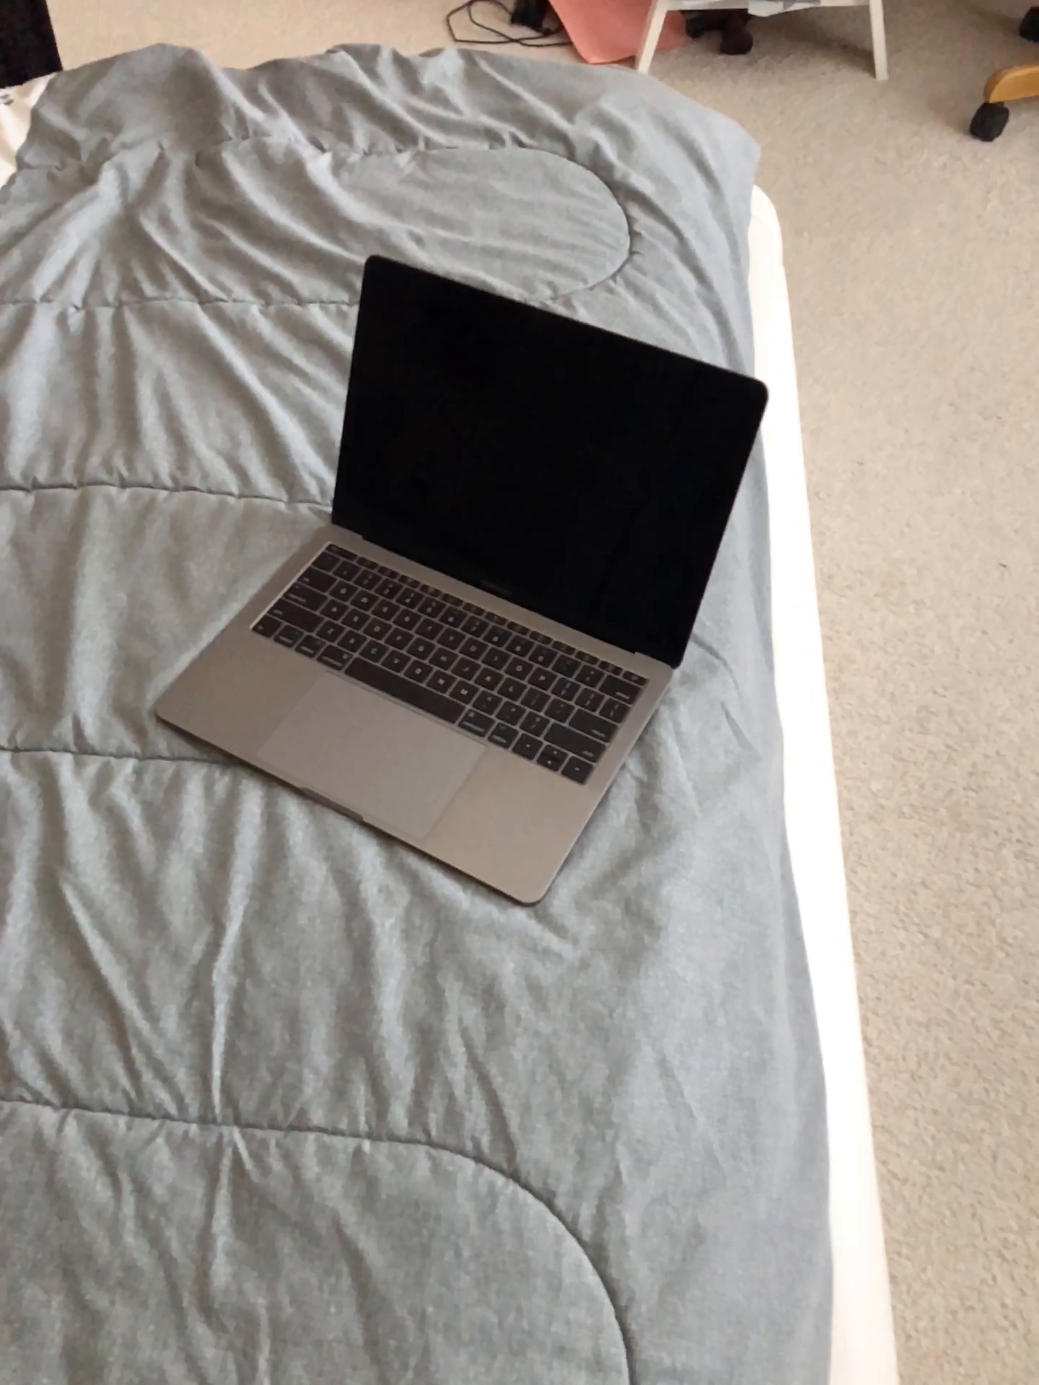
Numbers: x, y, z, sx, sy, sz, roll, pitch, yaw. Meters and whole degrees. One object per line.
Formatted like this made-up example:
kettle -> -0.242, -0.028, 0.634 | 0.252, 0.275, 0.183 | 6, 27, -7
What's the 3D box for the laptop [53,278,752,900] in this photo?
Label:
laptop -> -0.051, -0.076, 0.702 | 0.280, 0.159, 0.282 | 24, 58, 17
